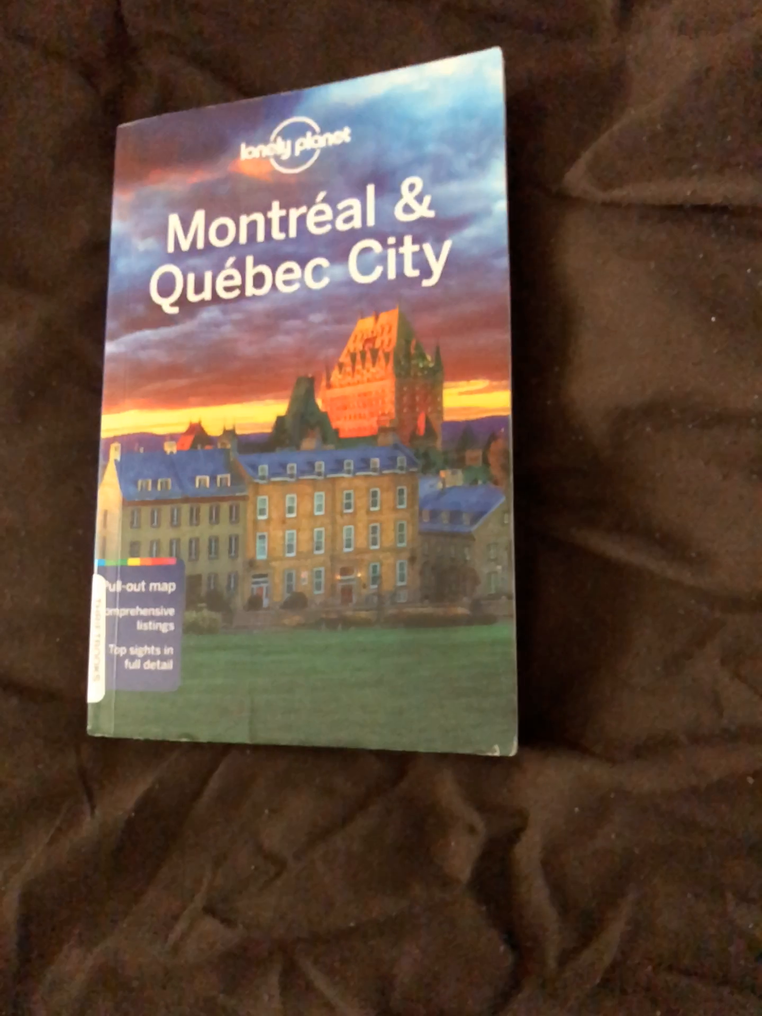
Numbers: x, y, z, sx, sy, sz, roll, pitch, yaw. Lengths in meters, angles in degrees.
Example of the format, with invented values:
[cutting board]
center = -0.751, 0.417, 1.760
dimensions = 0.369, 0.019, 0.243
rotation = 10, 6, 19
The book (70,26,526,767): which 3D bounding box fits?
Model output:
[book]
center = -0.027, -0.032, 0.266
dimensions = 0.137, 0.024, 0.205
rotation = -2, 83, 20
